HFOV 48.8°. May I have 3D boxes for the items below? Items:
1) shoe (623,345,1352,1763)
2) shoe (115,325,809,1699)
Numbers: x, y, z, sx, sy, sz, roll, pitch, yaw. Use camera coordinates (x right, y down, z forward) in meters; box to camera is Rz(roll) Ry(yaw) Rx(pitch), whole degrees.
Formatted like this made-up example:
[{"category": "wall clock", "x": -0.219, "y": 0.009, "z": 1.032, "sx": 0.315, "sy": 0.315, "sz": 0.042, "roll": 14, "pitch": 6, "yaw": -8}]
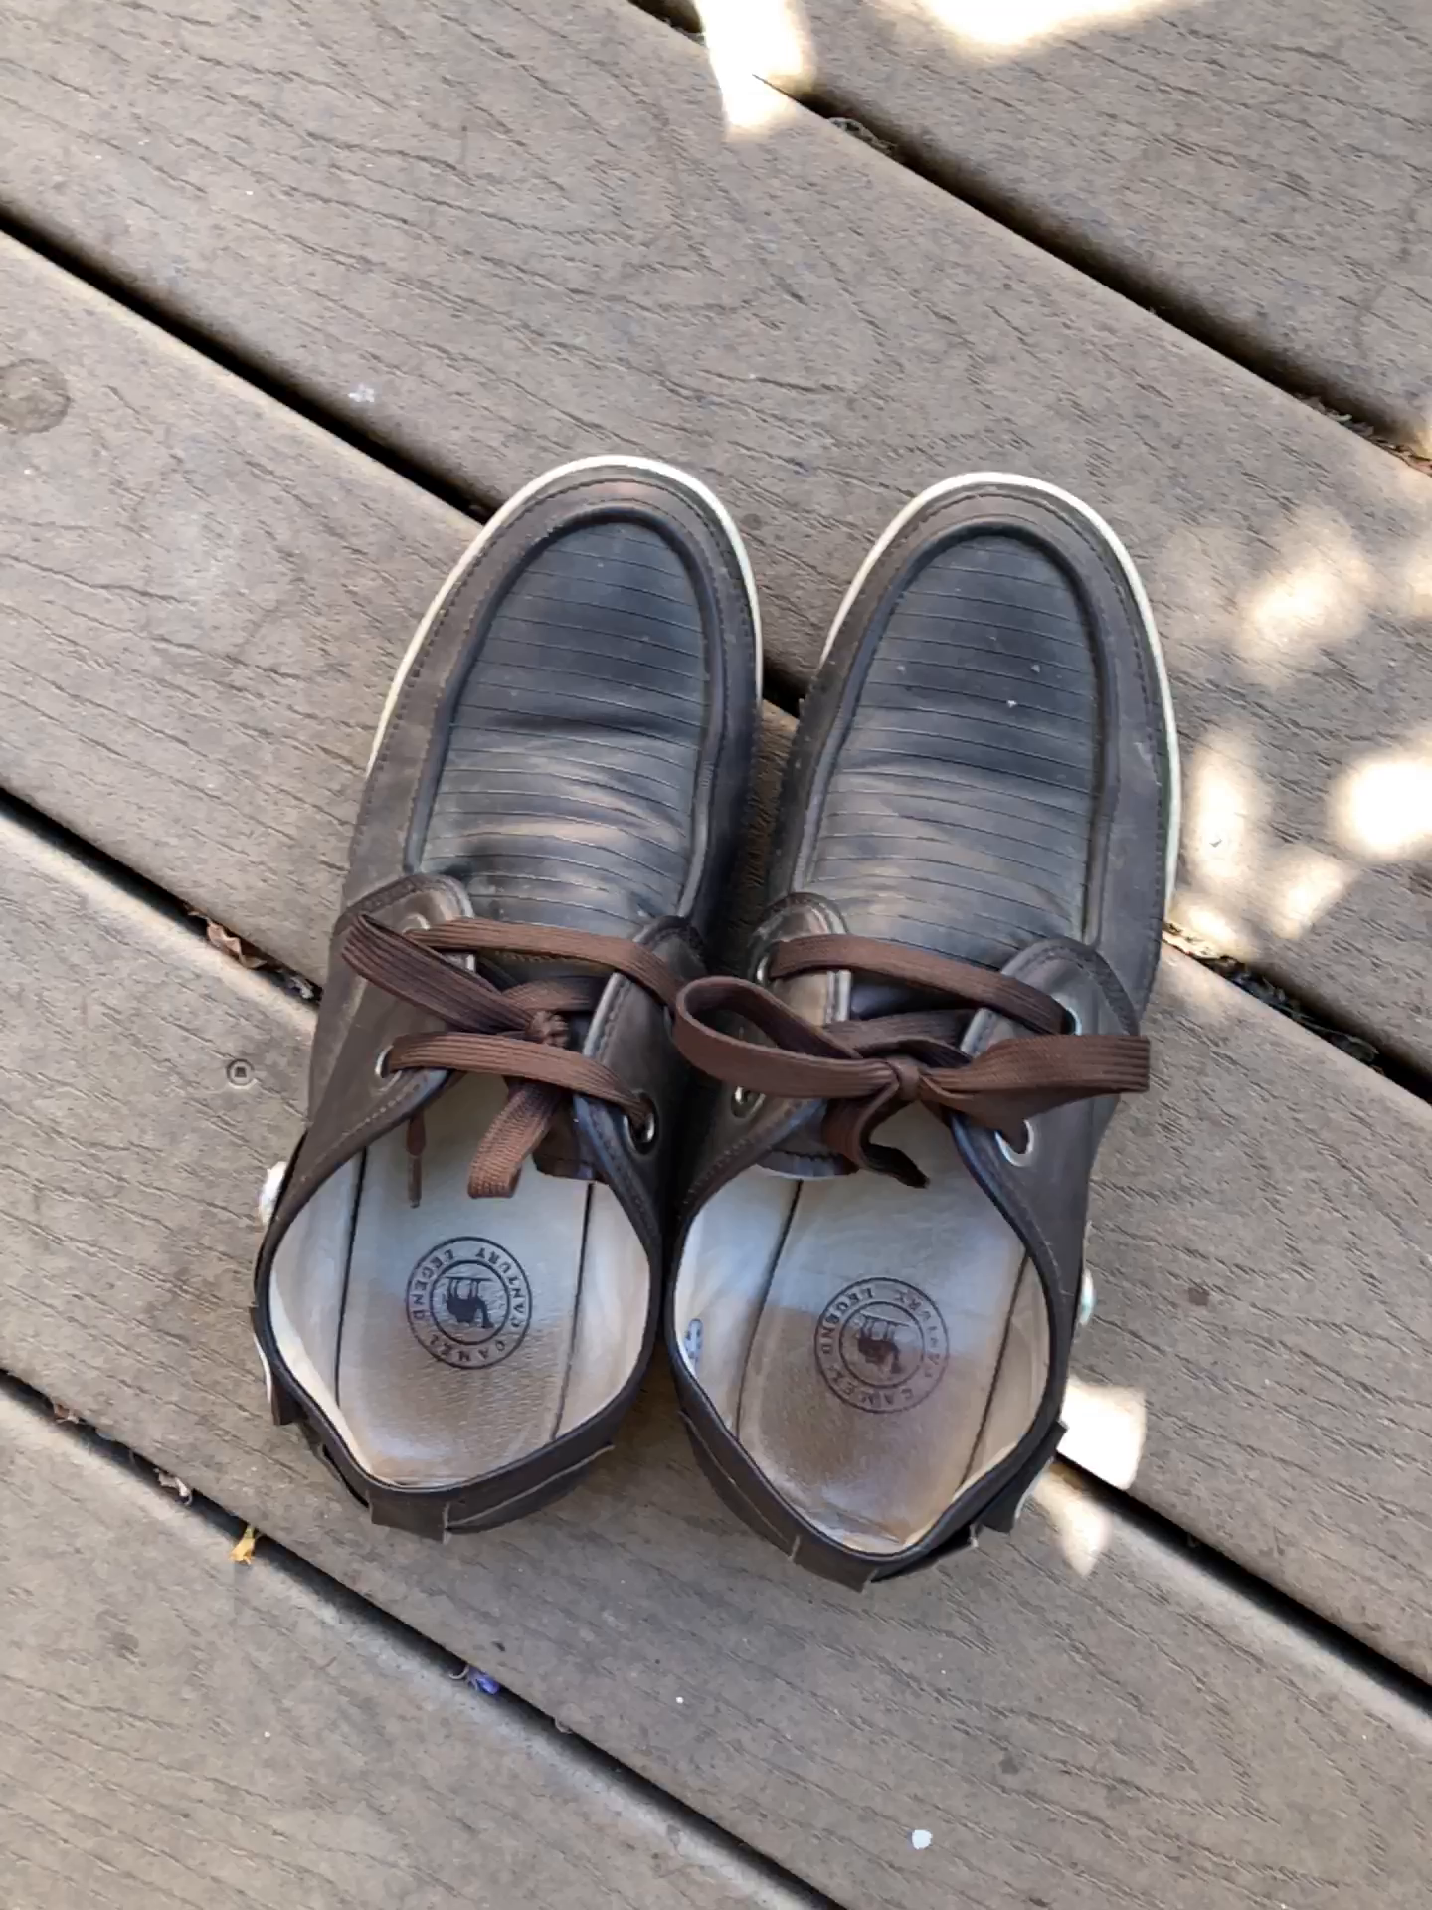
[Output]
[{"category": "shoe", "x": 0.059, "y": 0.021, "z": 0.389, "sx": 0.107, "sy": 0.105, "sz": 0.289, "roll": 9, "pitch": 92, "yaw": 3}, {"category": "shoe", "x": -0.054, "y": 0.012, "z": 0.403, "sx": 0.107, "sy": 0.115, "sz": 0.287, "roll": 10, "pitch": 92, "yaw": 3}]
